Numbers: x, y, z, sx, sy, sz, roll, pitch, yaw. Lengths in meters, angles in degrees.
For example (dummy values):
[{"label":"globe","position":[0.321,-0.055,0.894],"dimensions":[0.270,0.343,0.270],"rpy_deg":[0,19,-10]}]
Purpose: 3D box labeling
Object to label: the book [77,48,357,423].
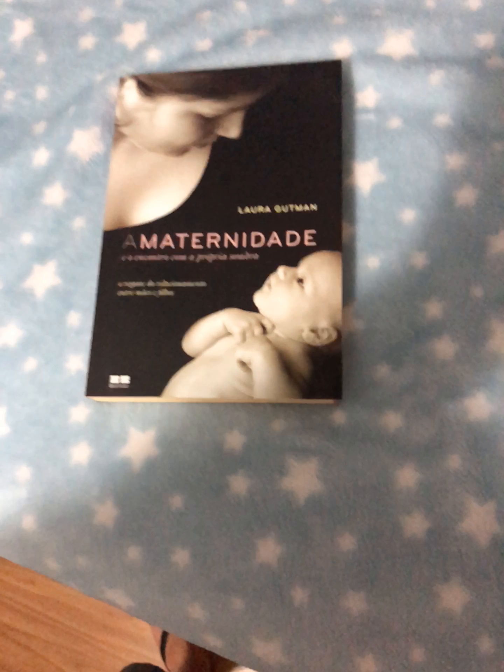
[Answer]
[{"label":"book","position":[-0.015,-0.069,0.361],"dimensions":[0.160,0.030,0.240],"rpy_deg":[0,74,8]}]
